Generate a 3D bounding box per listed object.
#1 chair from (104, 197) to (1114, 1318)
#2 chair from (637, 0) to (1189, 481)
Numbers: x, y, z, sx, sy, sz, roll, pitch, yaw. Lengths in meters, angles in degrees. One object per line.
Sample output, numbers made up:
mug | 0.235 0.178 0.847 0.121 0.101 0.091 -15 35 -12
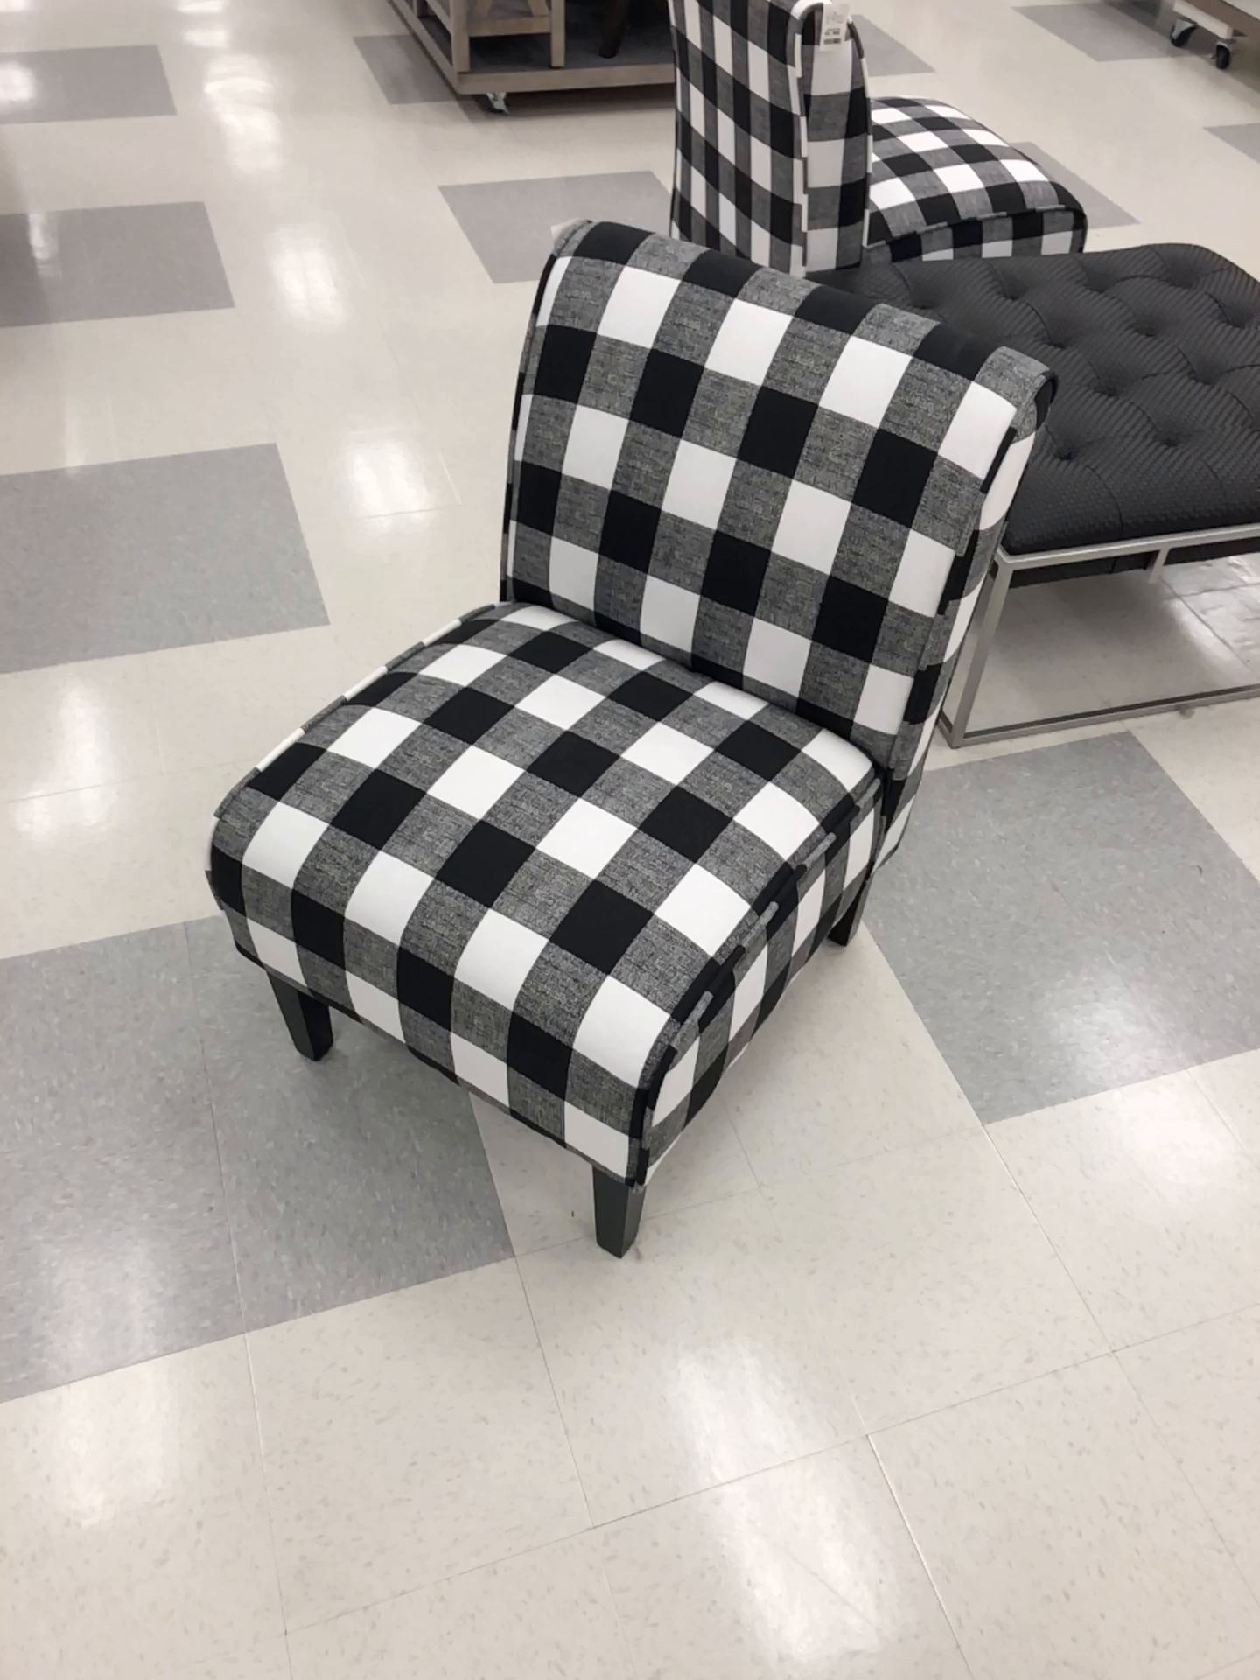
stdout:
chair | -0.002 -0.102 1.536 0.625 0.833 0.702 27 50 21
chair | 0.477 -1.286 2.728 0.729 0.833 0.627 -11 48 -14
